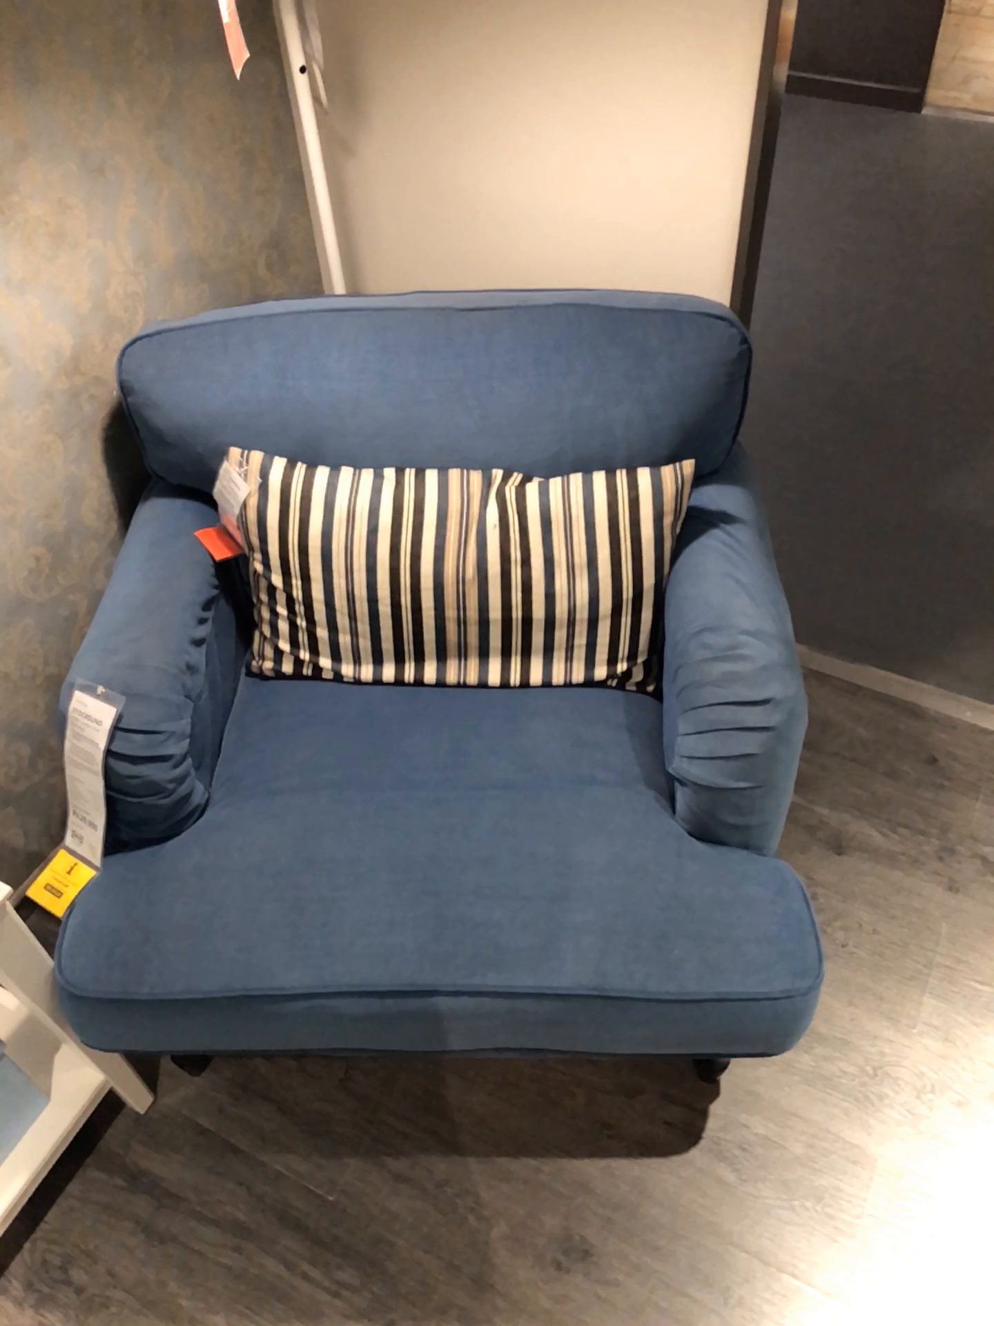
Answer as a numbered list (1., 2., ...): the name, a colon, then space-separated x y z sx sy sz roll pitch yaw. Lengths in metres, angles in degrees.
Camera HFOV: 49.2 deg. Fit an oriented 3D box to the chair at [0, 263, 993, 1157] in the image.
1. chair: -0.051 0.058 1.313 0.890 0.696 0.805 -1 48 3
